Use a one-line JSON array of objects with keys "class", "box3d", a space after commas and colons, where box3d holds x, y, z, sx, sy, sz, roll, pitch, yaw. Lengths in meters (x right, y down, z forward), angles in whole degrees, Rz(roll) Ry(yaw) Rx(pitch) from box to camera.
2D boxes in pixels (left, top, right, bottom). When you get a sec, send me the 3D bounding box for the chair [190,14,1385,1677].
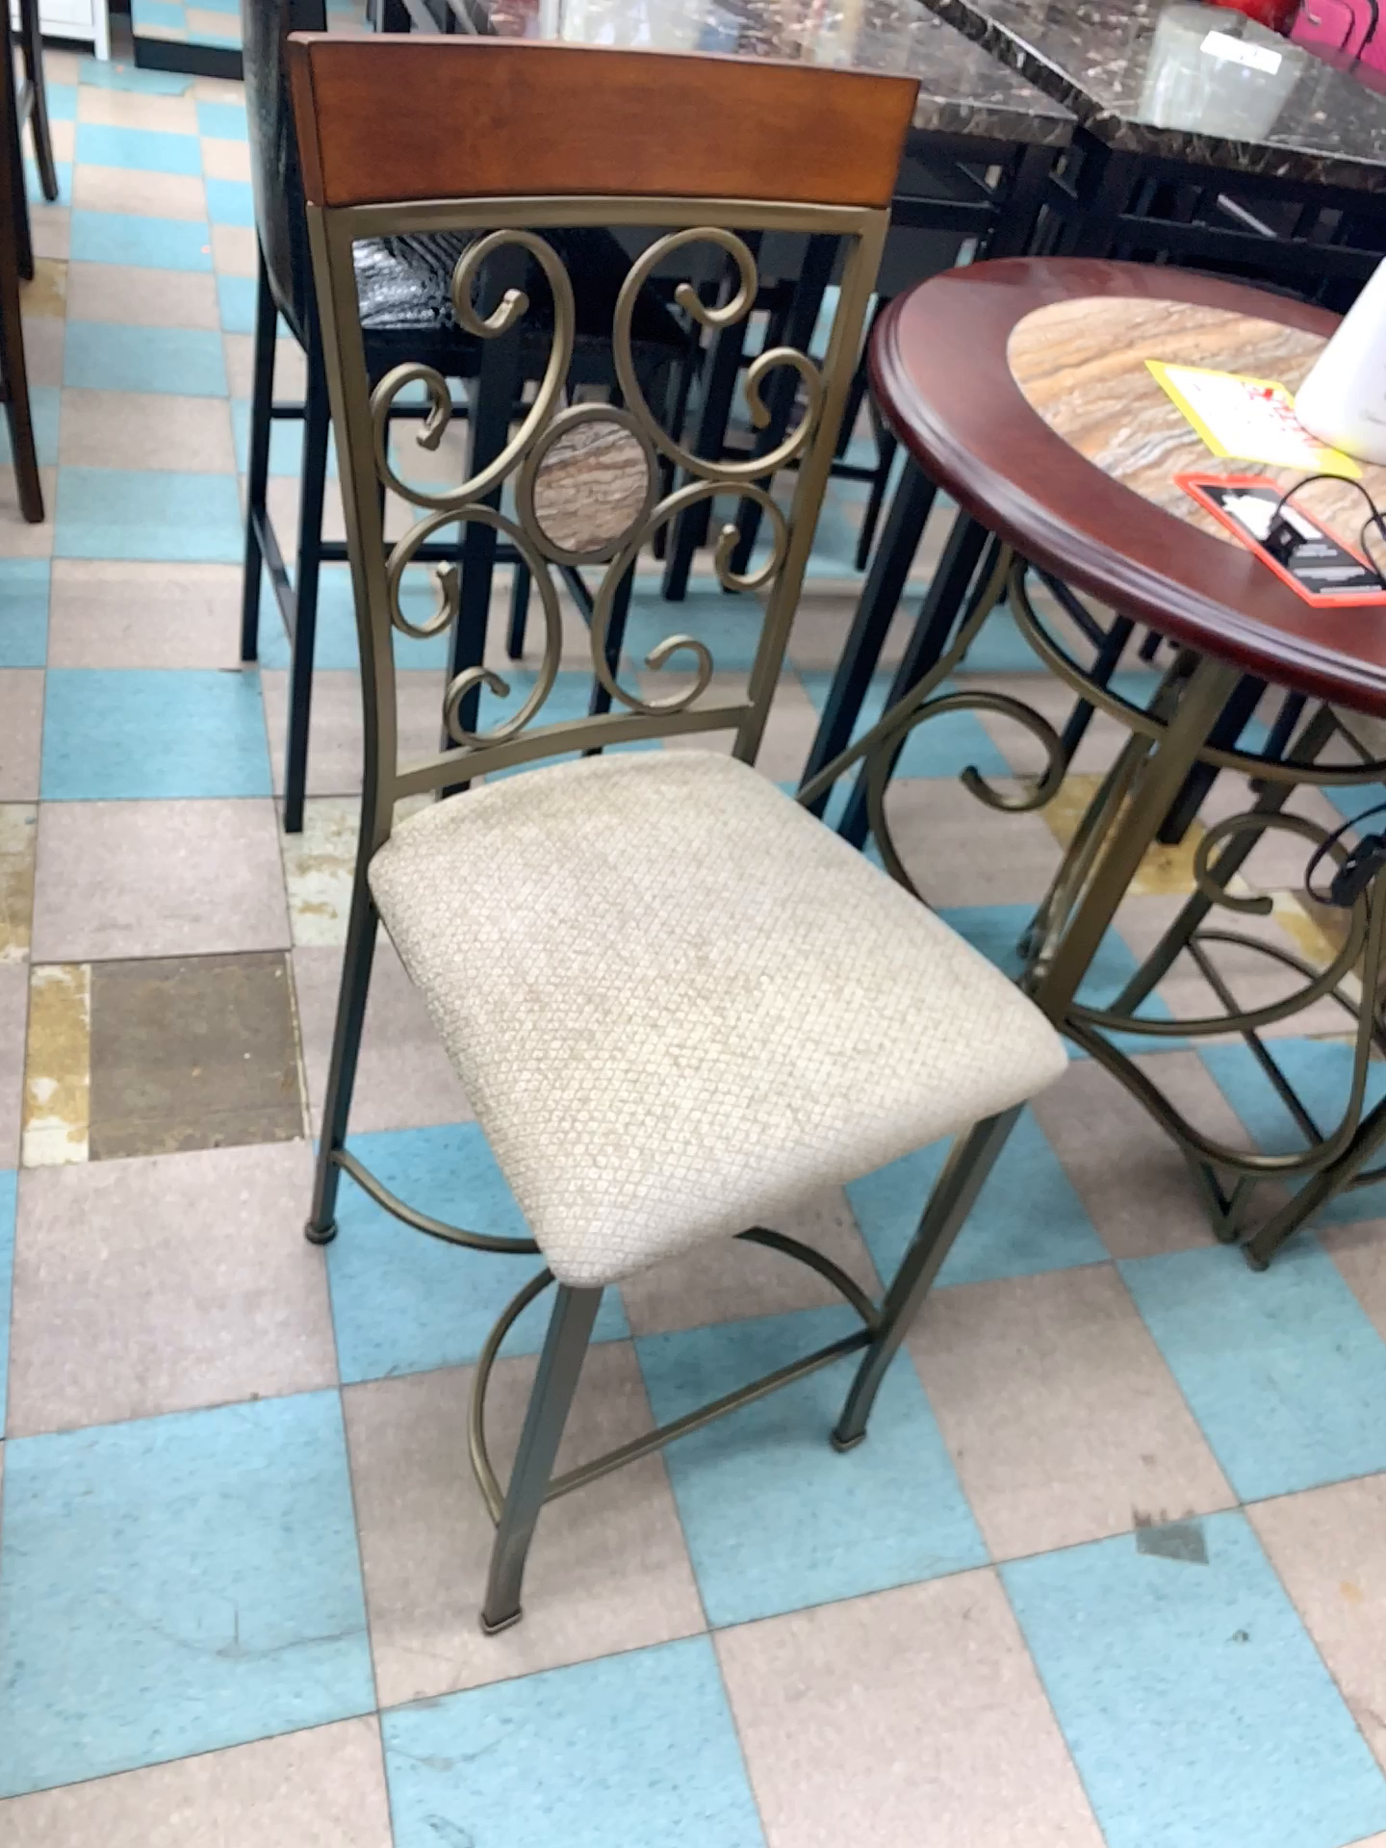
[{"class": "chair", "box3d": [-0.019, -0.004, 1.123, 0.511, 1.052, 0.610, -16, 52, -29]}]
